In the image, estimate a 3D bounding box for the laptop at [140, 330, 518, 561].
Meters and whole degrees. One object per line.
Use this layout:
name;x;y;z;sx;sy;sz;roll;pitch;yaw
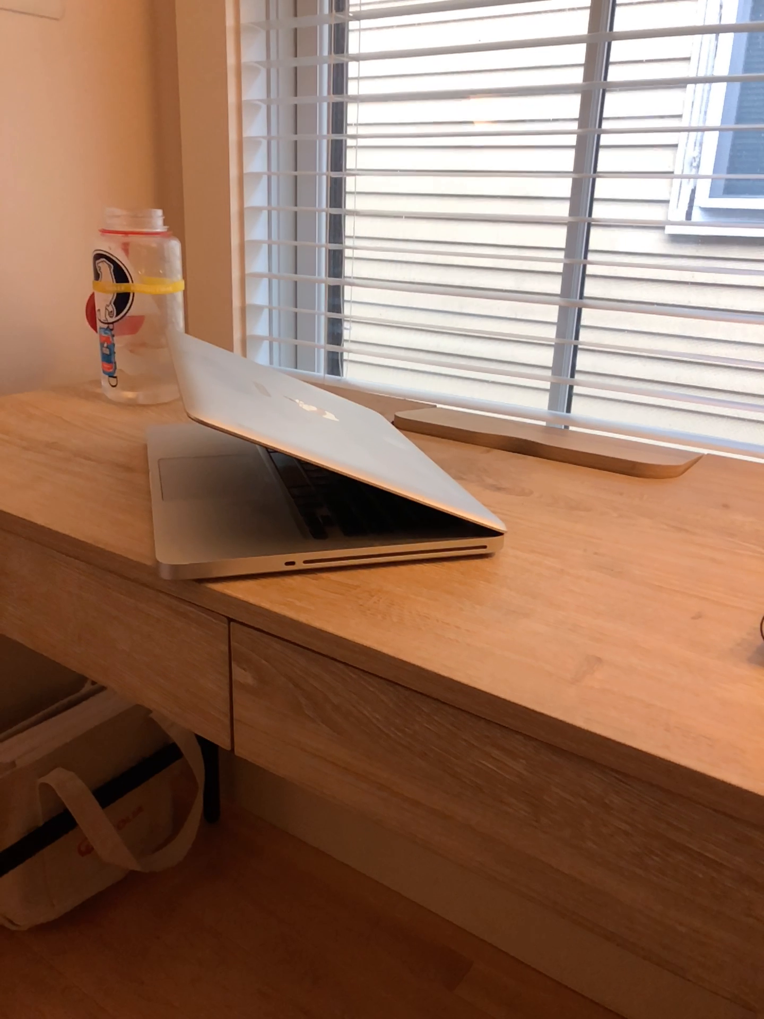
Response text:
laptop;-0.066;-0.072;0.656;0.228;0.089;0.320;-3;20;-15
